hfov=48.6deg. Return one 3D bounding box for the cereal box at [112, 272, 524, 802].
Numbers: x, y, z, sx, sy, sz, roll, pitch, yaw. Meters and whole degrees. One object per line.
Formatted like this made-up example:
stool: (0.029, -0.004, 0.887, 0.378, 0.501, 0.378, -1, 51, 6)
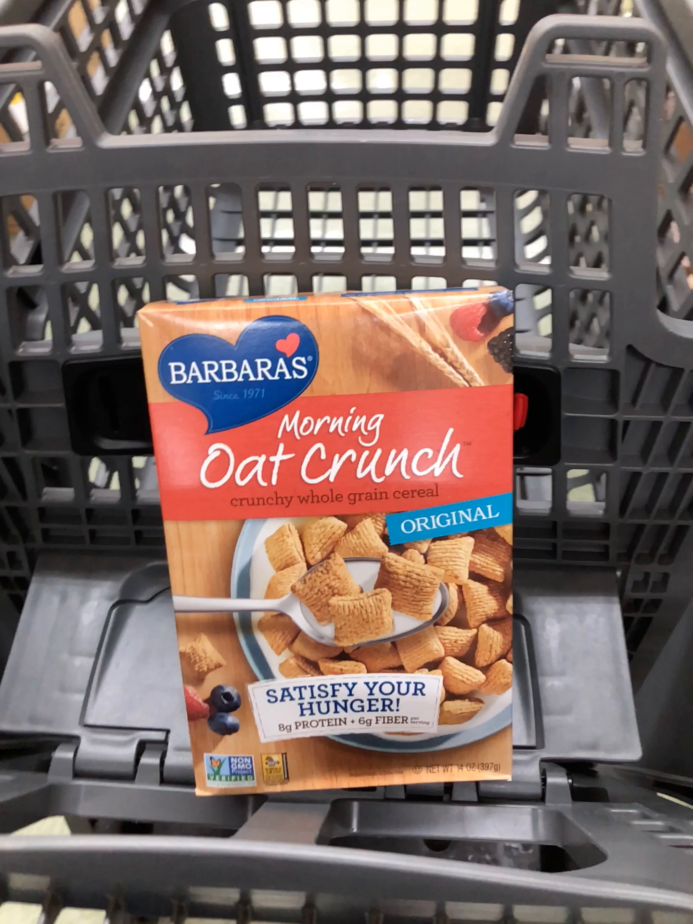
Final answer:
cereal box: (-0.005, 0.042, 0.398, 0.180, 0.260, 0.060, -3, 16, 1)
